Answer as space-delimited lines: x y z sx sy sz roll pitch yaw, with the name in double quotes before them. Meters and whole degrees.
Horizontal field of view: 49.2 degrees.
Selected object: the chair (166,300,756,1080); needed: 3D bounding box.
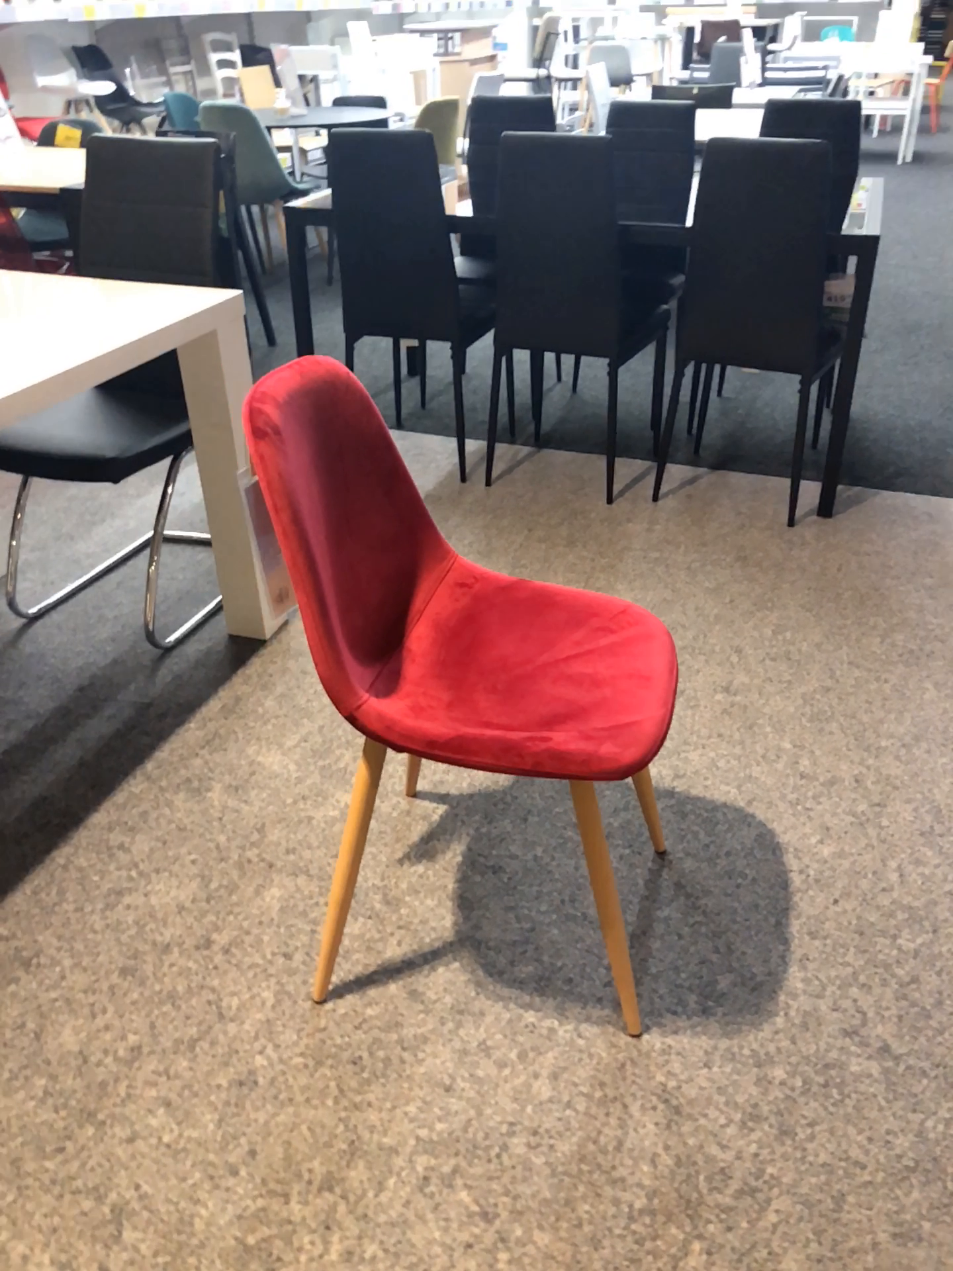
"chair" 0.034 0.046 1.389 0.550 0.815 0.534 7 32 13
